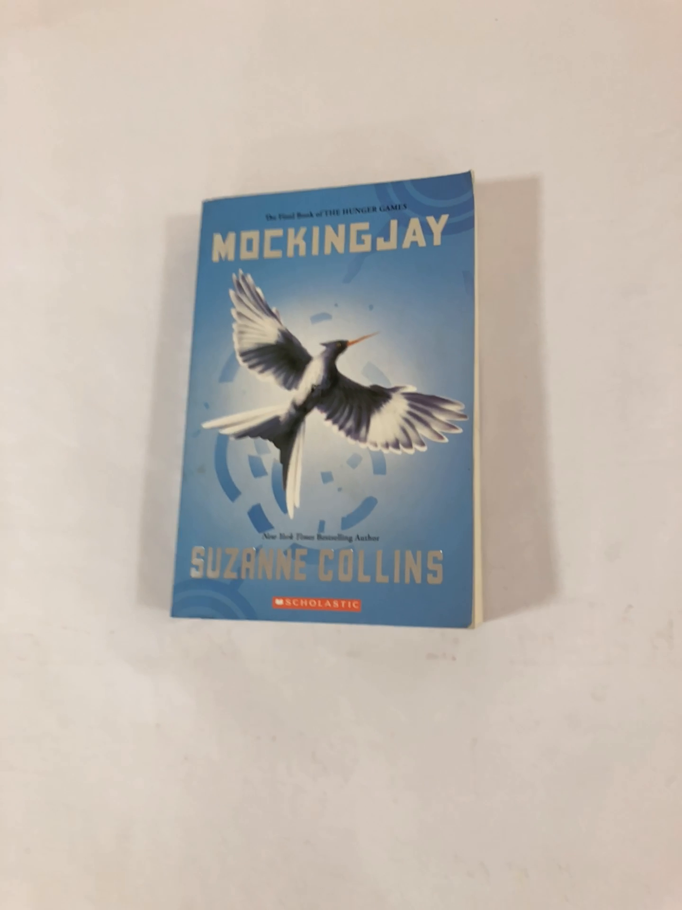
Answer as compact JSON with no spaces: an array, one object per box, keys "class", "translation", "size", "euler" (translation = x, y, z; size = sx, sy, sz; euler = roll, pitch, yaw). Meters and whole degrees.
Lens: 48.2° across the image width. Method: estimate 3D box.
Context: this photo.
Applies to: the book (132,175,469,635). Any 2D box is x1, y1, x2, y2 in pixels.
[{"class":"book","translation":[-0.015,-0.022,0.337],"size":[0.138,0.029,0.190],"euler":[-1,79,13]}]
